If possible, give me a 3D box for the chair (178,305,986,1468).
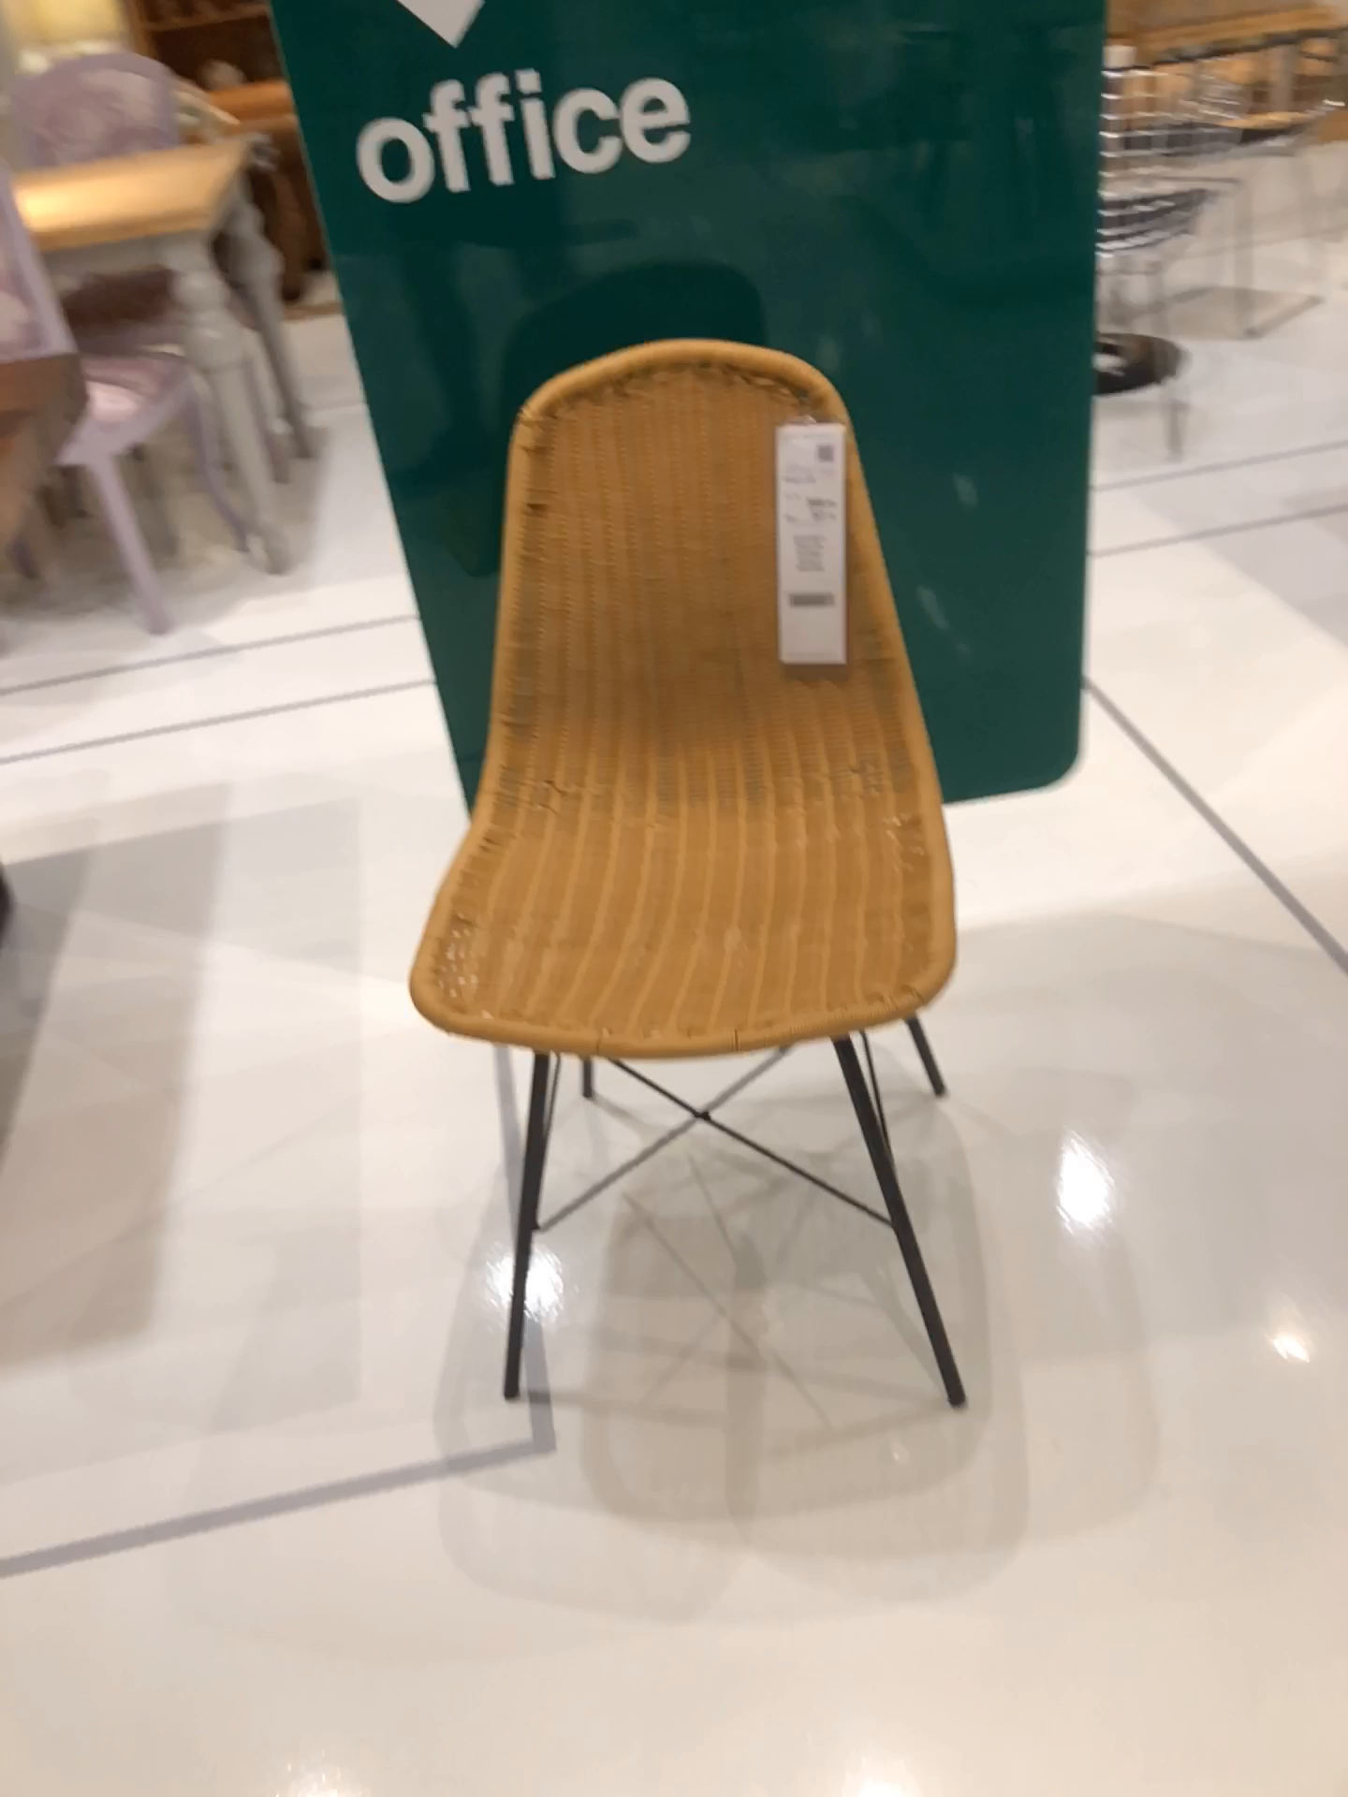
[{"bbox_3d":[0.016,0.002,1.365,0.490,0.864,0.574,-2,35,9],"label":"chair"}]
